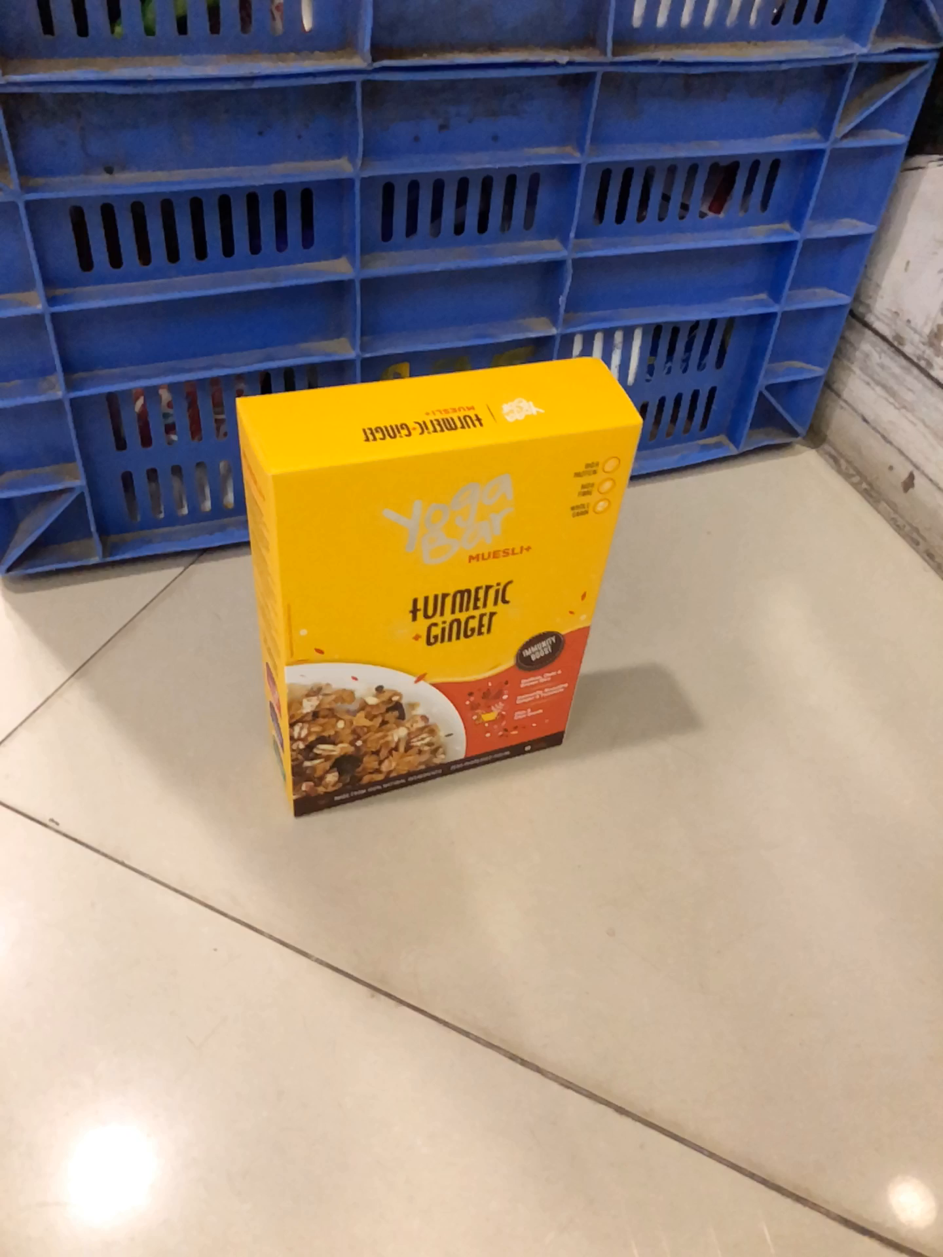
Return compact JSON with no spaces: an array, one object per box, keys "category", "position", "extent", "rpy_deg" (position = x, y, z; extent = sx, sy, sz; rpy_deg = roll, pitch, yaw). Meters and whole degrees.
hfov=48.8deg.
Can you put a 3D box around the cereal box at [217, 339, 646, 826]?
[{"category":"cereal box","position":[-0.023,-0.015,0.515],"extent":[0.170,0.228,0.060],"rpy_deg":[-13,47,-18]}]
